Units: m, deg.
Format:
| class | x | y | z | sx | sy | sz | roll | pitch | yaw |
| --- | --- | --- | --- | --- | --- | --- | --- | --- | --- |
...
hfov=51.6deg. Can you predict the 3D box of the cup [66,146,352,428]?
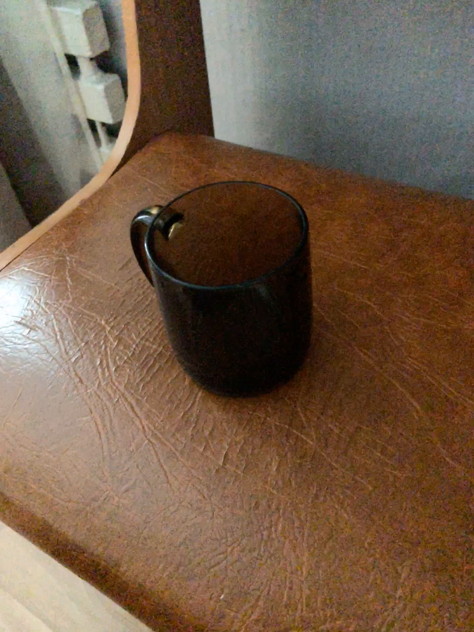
| class | x | y | z | sx | sy | sz | roll | pitch | yaw |
| --- | --- | --- | --- | --- | --- | --- | --- | --- | --- |
| cup | -0.013 | -0.020 | 0.277 | 0.120 | 0.089 | 0.080 | 30 | 58 | 28 |
